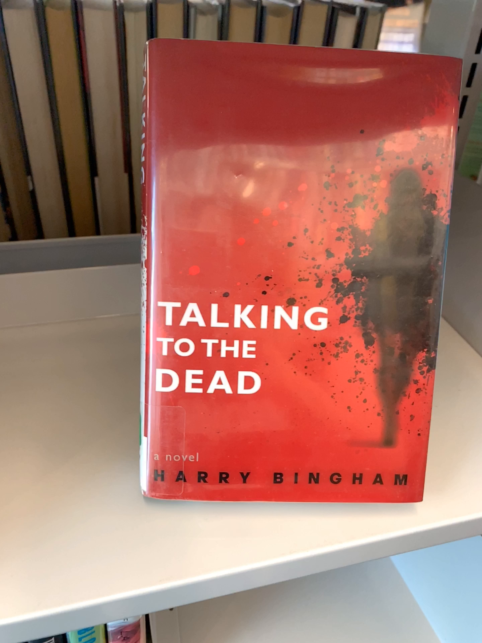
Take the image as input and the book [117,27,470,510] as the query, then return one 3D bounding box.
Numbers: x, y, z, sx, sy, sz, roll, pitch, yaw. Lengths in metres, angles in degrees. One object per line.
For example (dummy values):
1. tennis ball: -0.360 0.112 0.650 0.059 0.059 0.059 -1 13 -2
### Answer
1. book: 0.021 -0.020 0.266 0.164 0.231 0.040 1 7 -2
